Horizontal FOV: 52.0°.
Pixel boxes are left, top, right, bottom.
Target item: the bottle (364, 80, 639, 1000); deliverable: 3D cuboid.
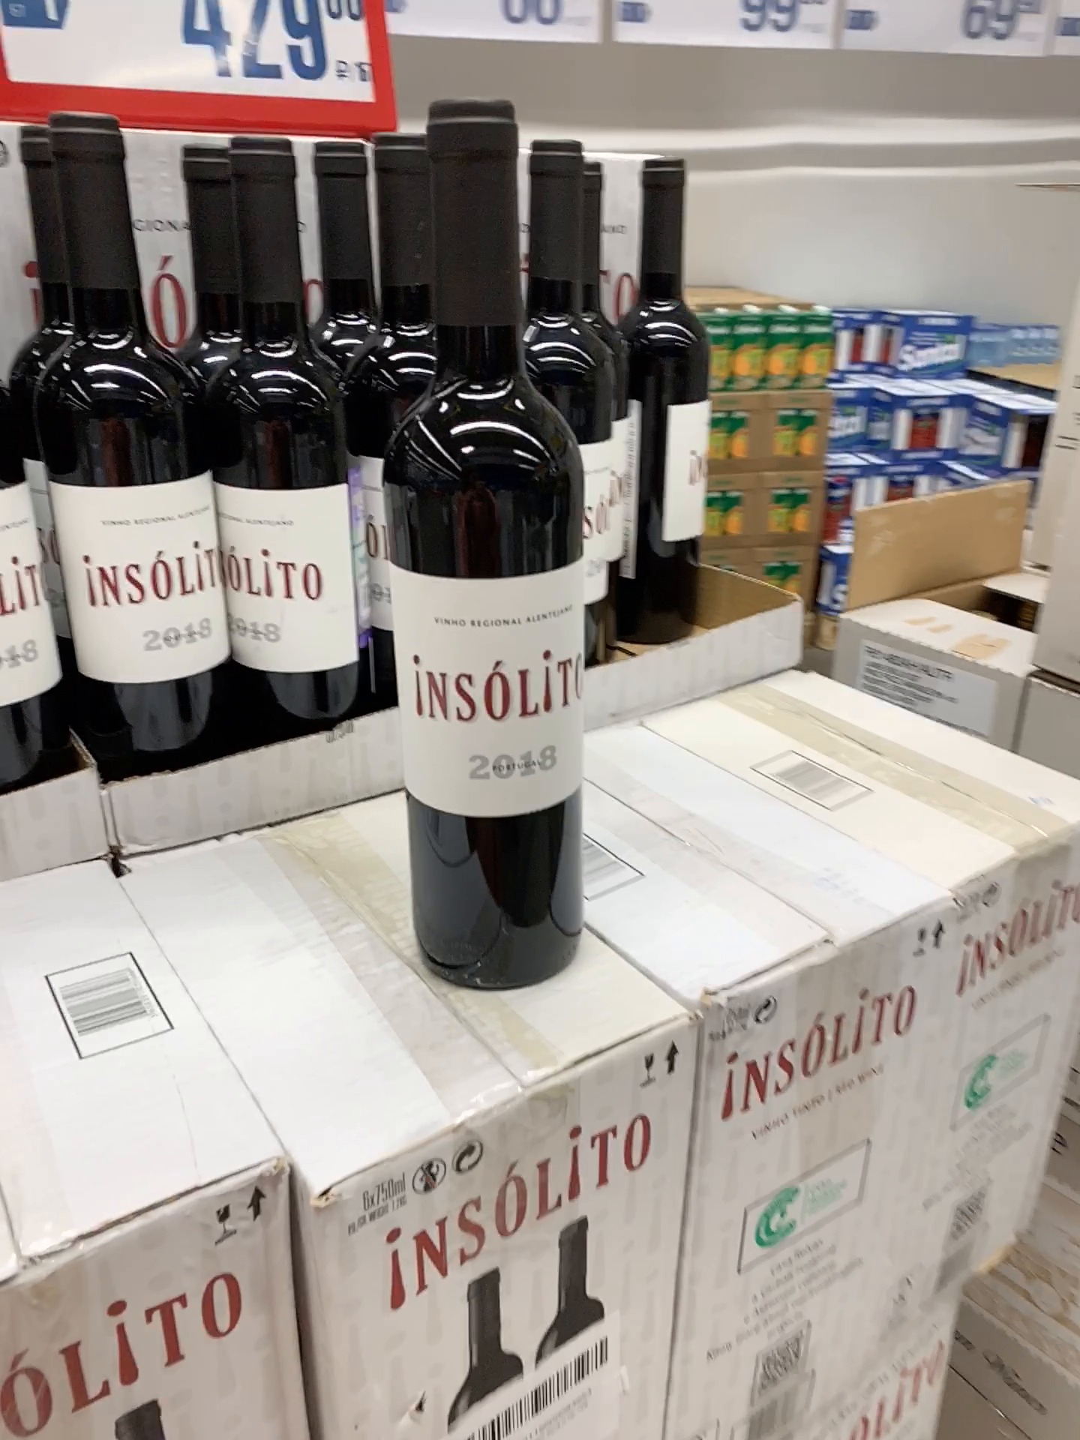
[{"bbox_3d":[-0.017,-0.051,0.407,0.077,0.310,0.080,1,23,-1],"label":"bottle"}]
